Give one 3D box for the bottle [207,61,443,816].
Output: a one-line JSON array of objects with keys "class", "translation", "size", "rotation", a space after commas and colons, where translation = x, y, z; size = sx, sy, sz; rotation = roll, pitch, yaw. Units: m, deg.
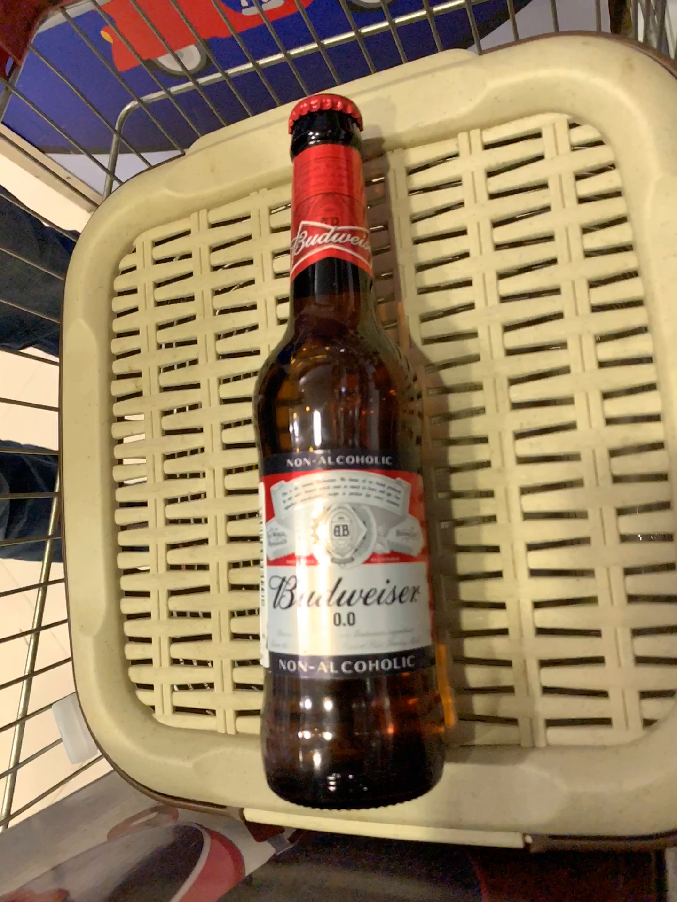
[{"class": "bottle", "translation": [-0.004, -0.006, 0.233], "size": [0.060, 0.060, 0.220], "rotation": [-3, 83, 5]}]
